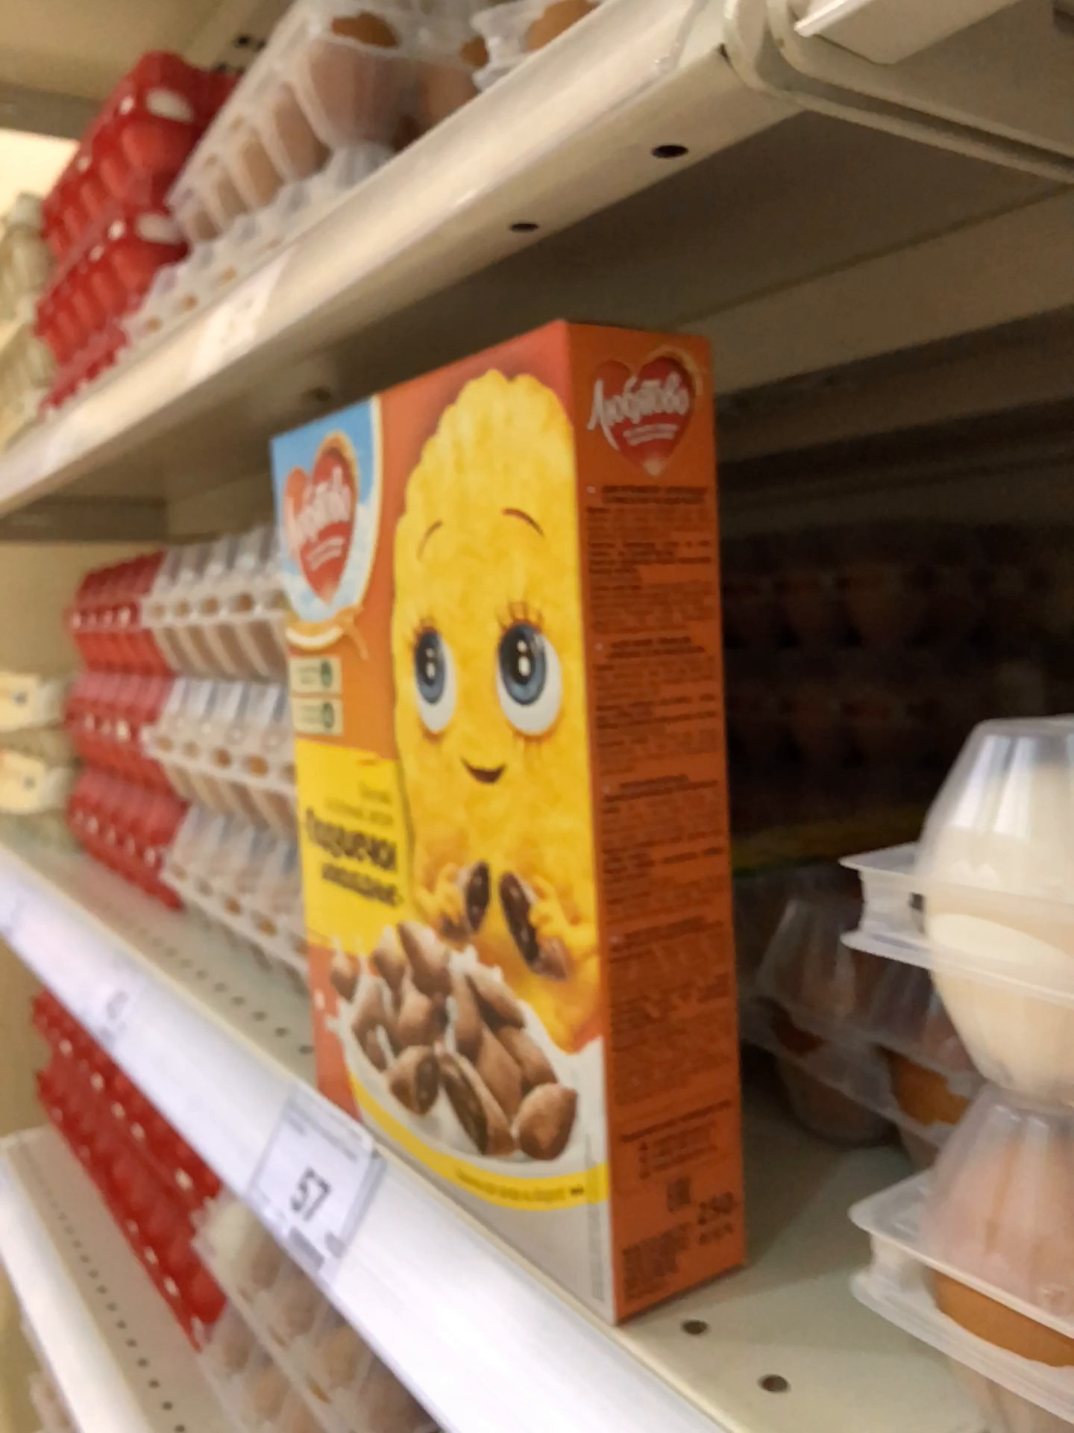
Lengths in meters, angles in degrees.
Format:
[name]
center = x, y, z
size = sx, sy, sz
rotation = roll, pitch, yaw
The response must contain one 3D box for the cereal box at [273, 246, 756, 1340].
[cereal box]
center = -0.018, 0.014, 0.347
size = 0.040, 0.240, 0.180
rotation = -5, 5, -33
